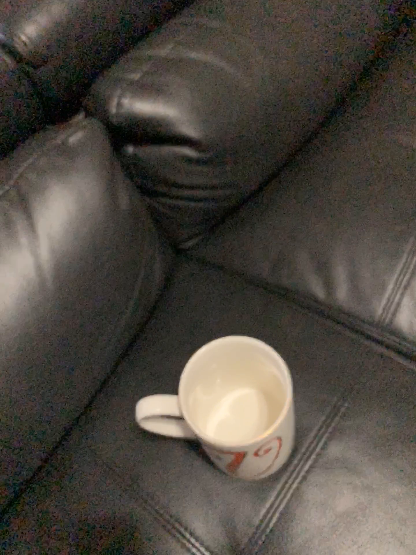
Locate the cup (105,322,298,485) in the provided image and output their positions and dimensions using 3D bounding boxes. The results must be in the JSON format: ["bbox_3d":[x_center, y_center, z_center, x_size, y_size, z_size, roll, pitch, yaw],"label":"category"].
[{"bbox_3d":[0.002,0.115,0.390,0.138,0.107,0.098,-6,51,9],"label":"cup"}]
